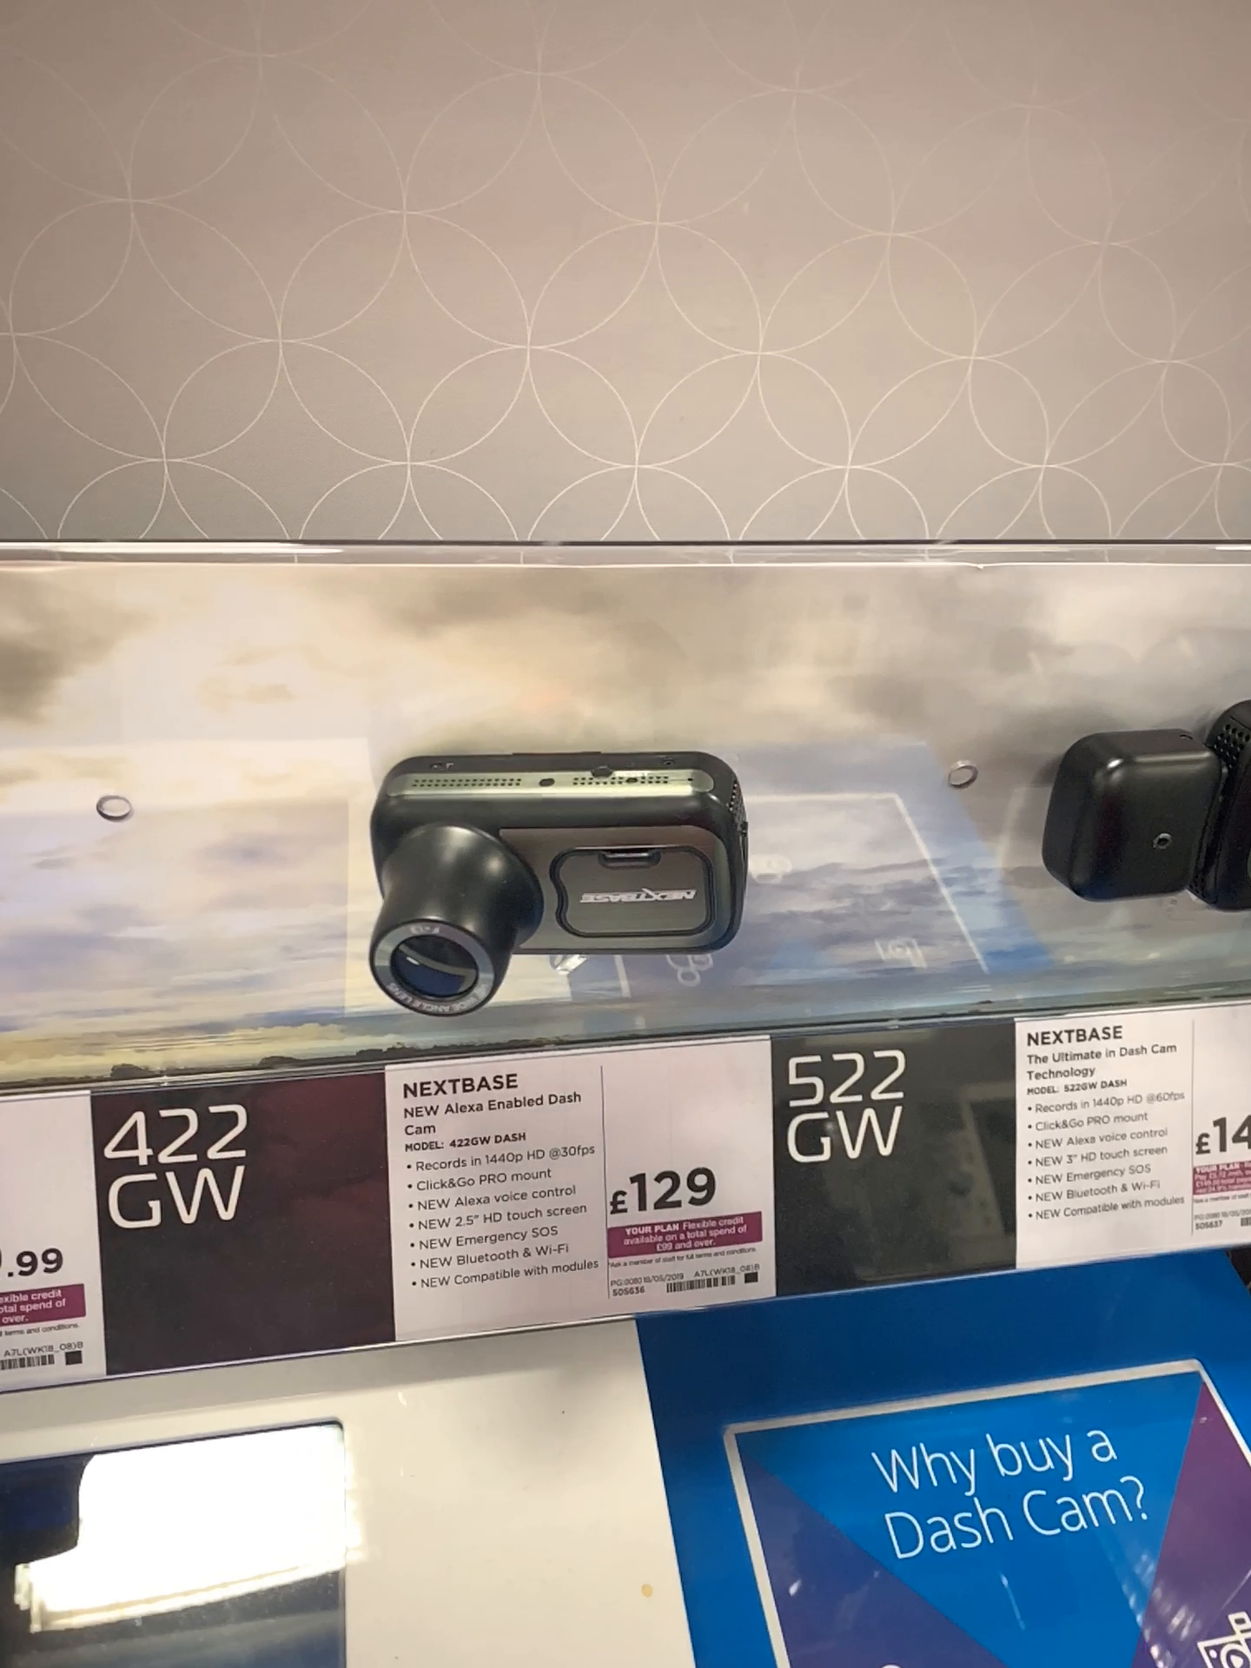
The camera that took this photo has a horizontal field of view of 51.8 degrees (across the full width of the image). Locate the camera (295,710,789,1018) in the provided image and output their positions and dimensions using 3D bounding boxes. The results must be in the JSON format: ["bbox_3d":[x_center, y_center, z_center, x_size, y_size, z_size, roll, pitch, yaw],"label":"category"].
[{"bbox_3d":[-0.012,0.005,0.266,0.090,0.040,0.050,-1,34,8],"label":"camera"}]
